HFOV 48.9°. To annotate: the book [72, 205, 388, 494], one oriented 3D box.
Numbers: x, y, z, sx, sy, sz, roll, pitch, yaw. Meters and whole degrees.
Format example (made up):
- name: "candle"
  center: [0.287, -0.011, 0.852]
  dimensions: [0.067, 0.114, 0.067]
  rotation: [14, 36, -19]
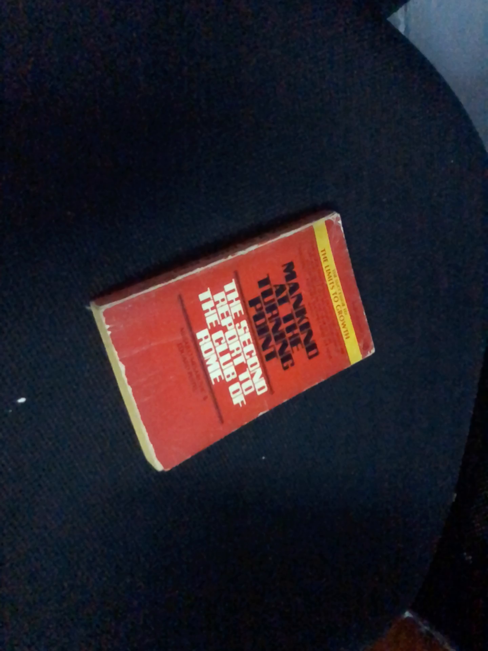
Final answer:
- name: "book"
  center: [0.004, 0.007, 0.356]
  dimensions: [0.195, 0.025, 0.117]
  rotation: [-26, 107, -25]
